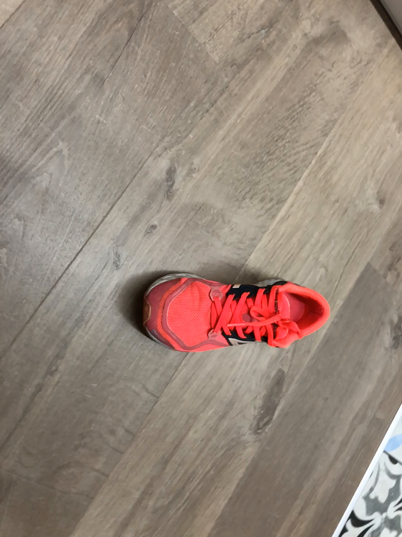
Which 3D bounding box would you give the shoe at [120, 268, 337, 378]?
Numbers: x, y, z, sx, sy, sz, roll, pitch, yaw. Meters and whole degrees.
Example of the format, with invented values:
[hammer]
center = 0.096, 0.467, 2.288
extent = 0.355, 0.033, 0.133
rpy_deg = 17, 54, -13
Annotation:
[shoe]
center = 0.036, 0.062, 0.553
extent = 0.241, 0.110, 0.100
rpy_deg = 3, 95, -29
